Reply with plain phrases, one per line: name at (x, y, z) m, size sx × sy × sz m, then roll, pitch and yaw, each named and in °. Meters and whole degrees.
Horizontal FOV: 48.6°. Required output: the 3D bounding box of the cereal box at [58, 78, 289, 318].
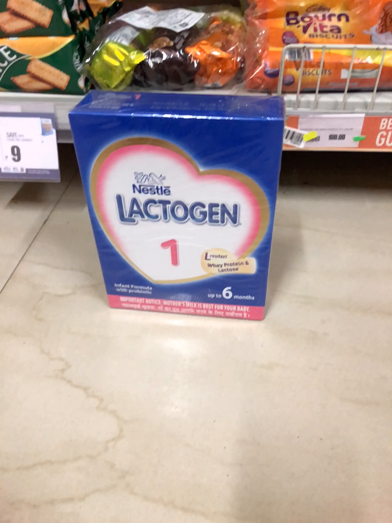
cereal box at (-0.011, -0.043, 0.358) m, size 0.150 × 0.189 × 0.050 m, roll 4°, pitch 40°, yaw 6°
